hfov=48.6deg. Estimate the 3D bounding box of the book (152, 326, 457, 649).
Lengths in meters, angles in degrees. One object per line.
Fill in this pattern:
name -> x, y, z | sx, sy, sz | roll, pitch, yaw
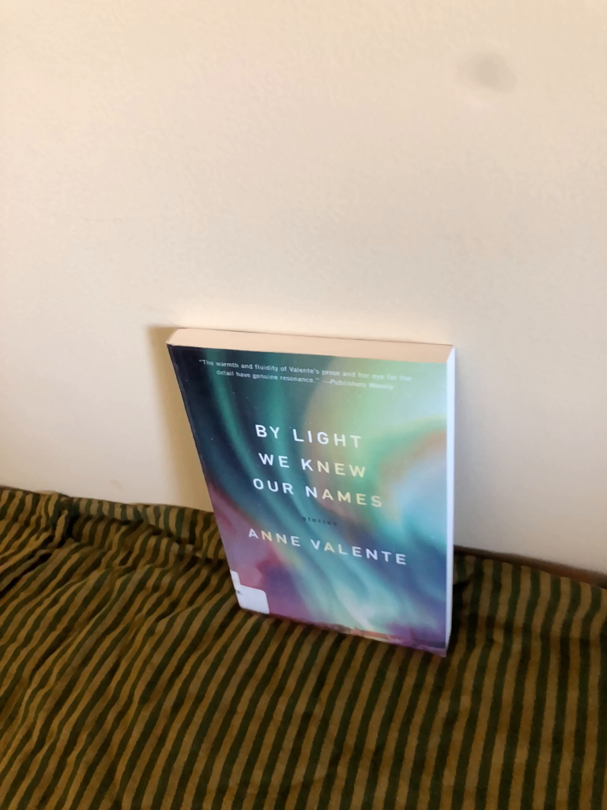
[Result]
book -> 0.010, 0.058, 0.382 | 0.142, 0.223, 0.020 | 5, 42, 16
